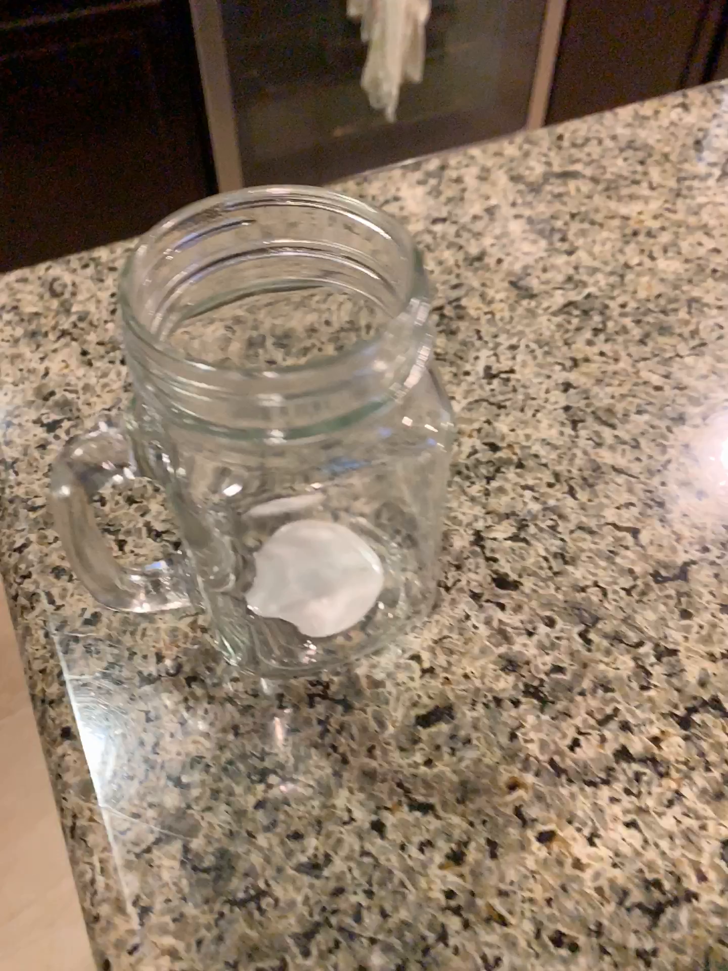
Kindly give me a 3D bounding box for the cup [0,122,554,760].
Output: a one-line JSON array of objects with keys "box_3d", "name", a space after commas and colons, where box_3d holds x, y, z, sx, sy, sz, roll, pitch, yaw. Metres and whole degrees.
[{"box_3d": [-0.034, -0.009, 0.203, 0.120, 0.119, 0.081, -19, 54, -14], "name": "cup"}]
